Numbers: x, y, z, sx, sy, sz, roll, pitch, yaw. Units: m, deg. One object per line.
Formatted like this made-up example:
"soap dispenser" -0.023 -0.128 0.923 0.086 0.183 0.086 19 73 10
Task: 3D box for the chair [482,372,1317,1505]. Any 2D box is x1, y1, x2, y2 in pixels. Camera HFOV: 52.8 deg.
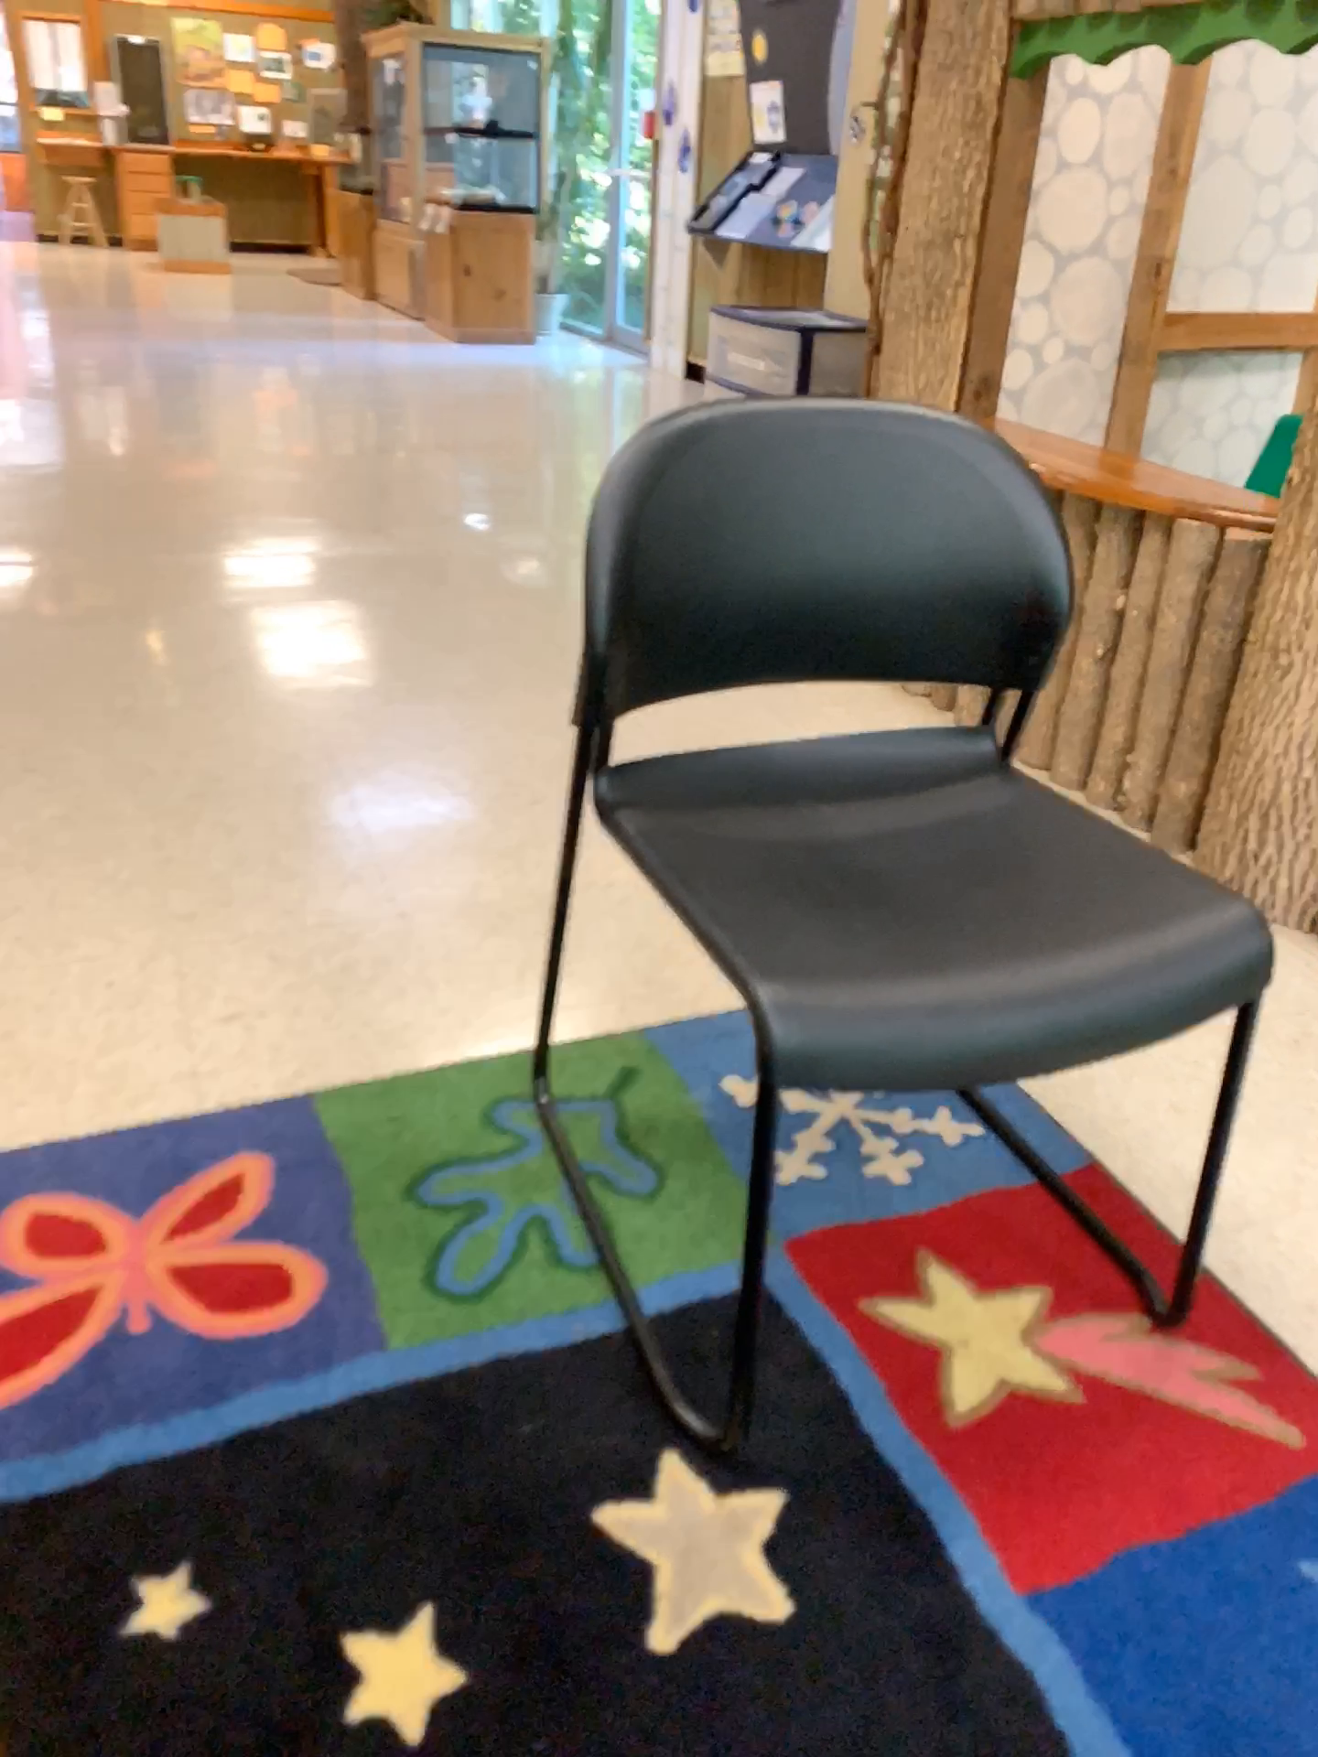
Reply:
"chair" 0.193 -0.006 1.204 0.570 0.785 0.533 -8 29 -22
